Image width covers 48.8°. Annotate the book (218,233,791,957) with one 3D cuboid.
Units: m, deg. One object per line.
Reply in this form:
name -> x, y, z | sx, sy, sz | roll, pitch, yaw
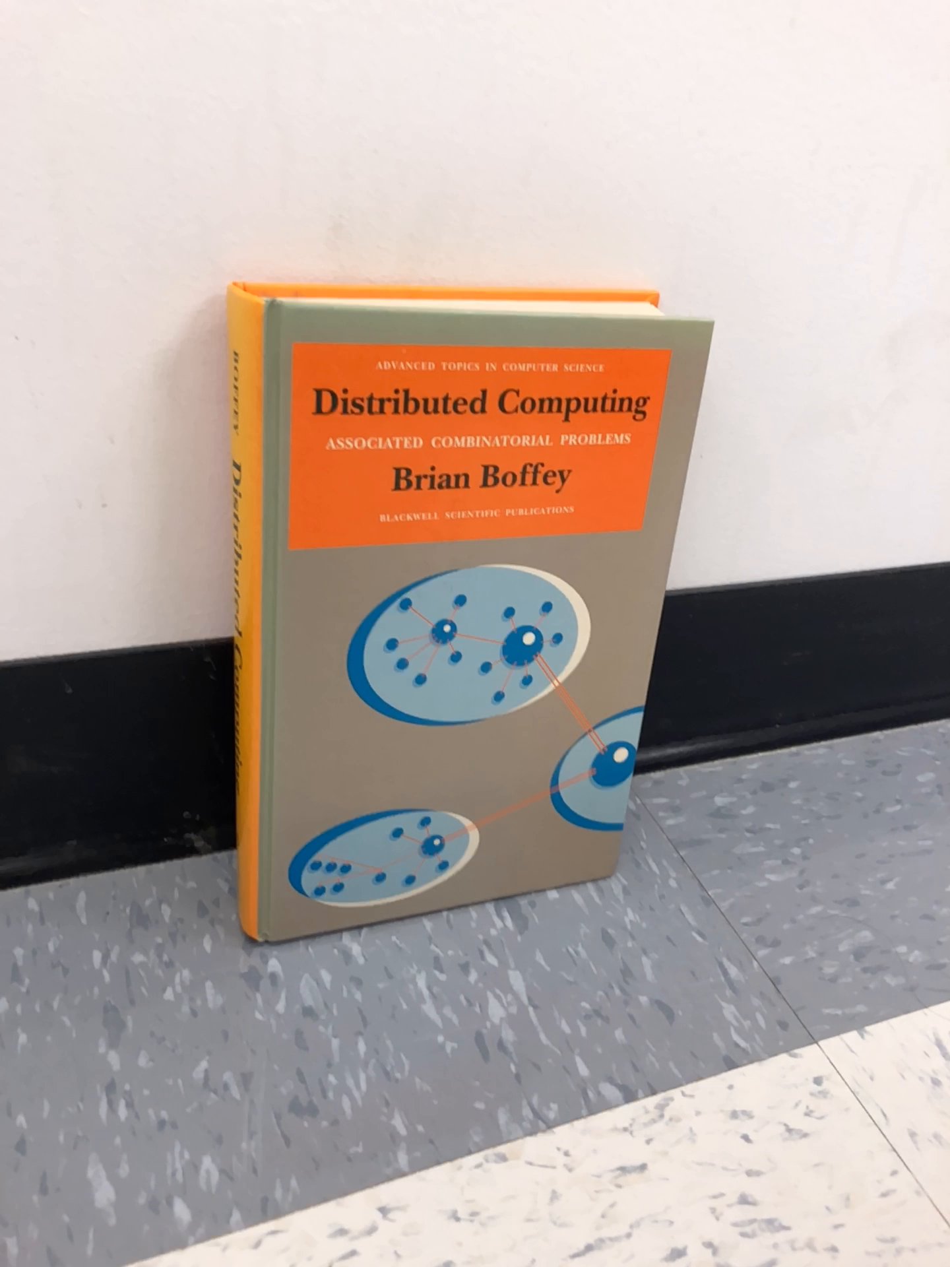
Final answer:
book -> 0.001, -0.009, 0.374 | 0.170, 0.239, 0.050 | -5, 29, -21
